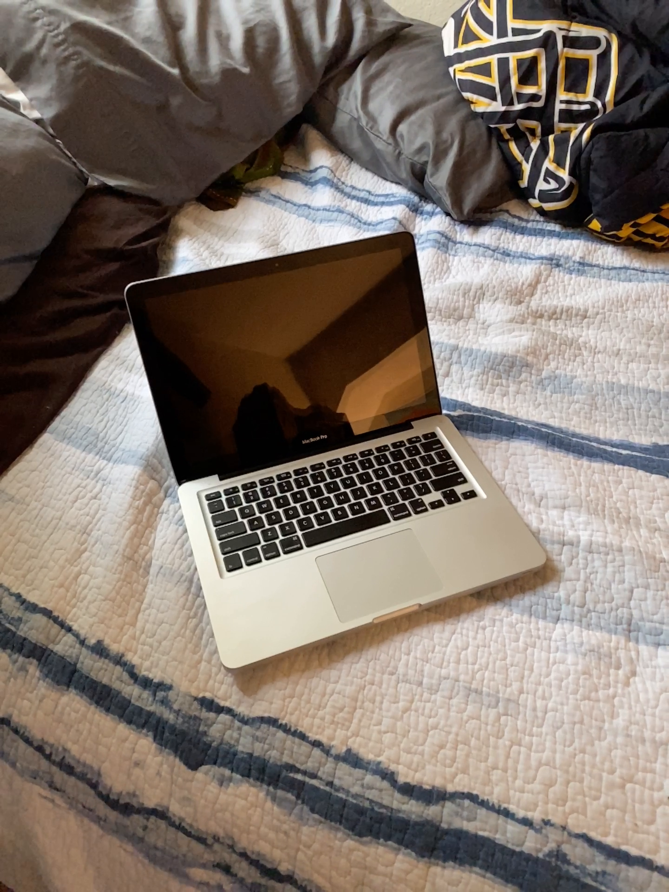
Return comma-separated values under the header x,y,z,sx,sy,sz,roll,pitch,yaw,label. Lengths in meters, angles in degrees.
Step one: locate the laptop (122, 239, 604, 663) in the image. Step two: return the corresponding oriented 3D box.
x,y,z,sx,sy,sz,roll,pitch,yaw,label
-0.003,-0.023,0.672,0.319,0.169,0.347,-15,46,-13,laptop
